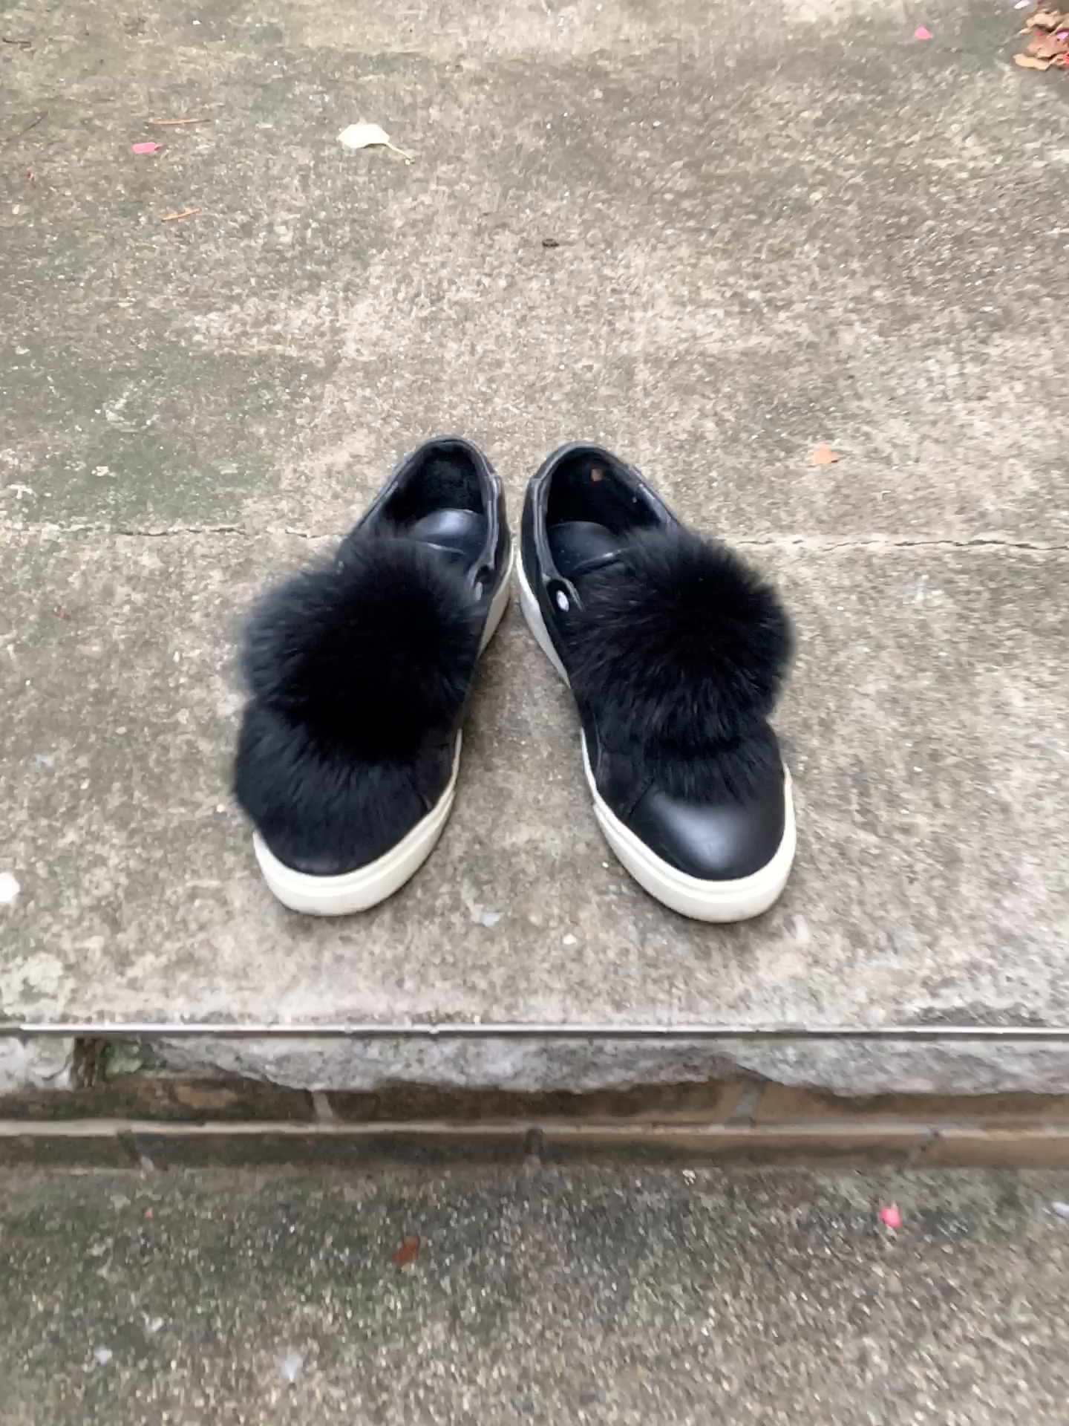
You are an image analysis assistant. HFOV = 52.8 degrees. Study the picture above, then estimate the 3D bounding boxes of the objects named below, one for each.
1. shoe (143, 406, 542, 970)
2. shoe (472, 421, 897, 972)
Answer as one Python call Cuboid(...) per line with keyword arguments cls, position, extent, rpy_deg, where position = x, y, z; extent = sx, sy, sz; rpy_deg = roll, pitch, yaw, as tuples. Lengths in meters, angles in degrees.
Cuboid(cls="shoe", position=(-0.073, -0.027, 0.526), extent=(0.095, 0.097, 0.270), rpy_deg=(11, 49, 8))
Cuboid(cls="shoe", position=(0.052, -0.020, 0.508), extent=(0.098, 0.097, 0.244), rpy_deg=(-13, 50, -13))
